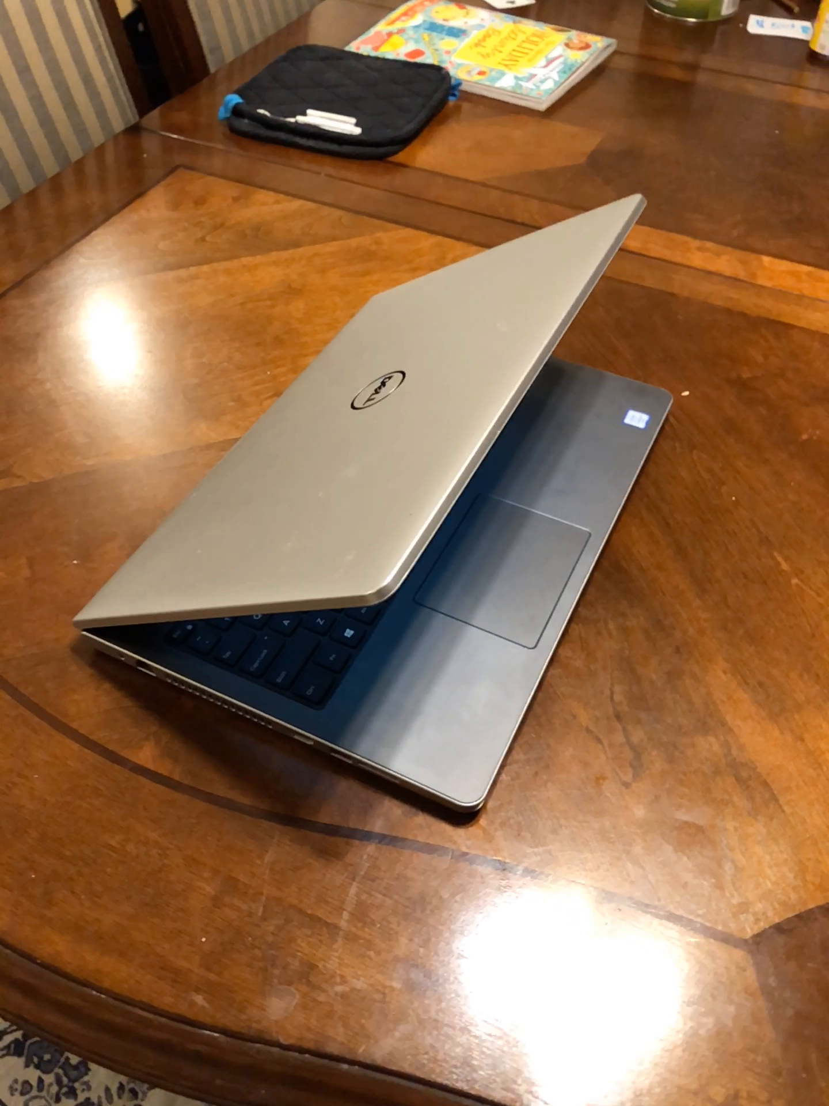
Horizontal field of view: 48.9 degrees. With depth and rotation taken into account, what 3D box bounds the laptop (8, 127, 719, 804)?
[{"bbox_3d":[-0.001,-0.085,0.554,0.245,0.147,0.365,21,52,16],"label":"laptop"}]
